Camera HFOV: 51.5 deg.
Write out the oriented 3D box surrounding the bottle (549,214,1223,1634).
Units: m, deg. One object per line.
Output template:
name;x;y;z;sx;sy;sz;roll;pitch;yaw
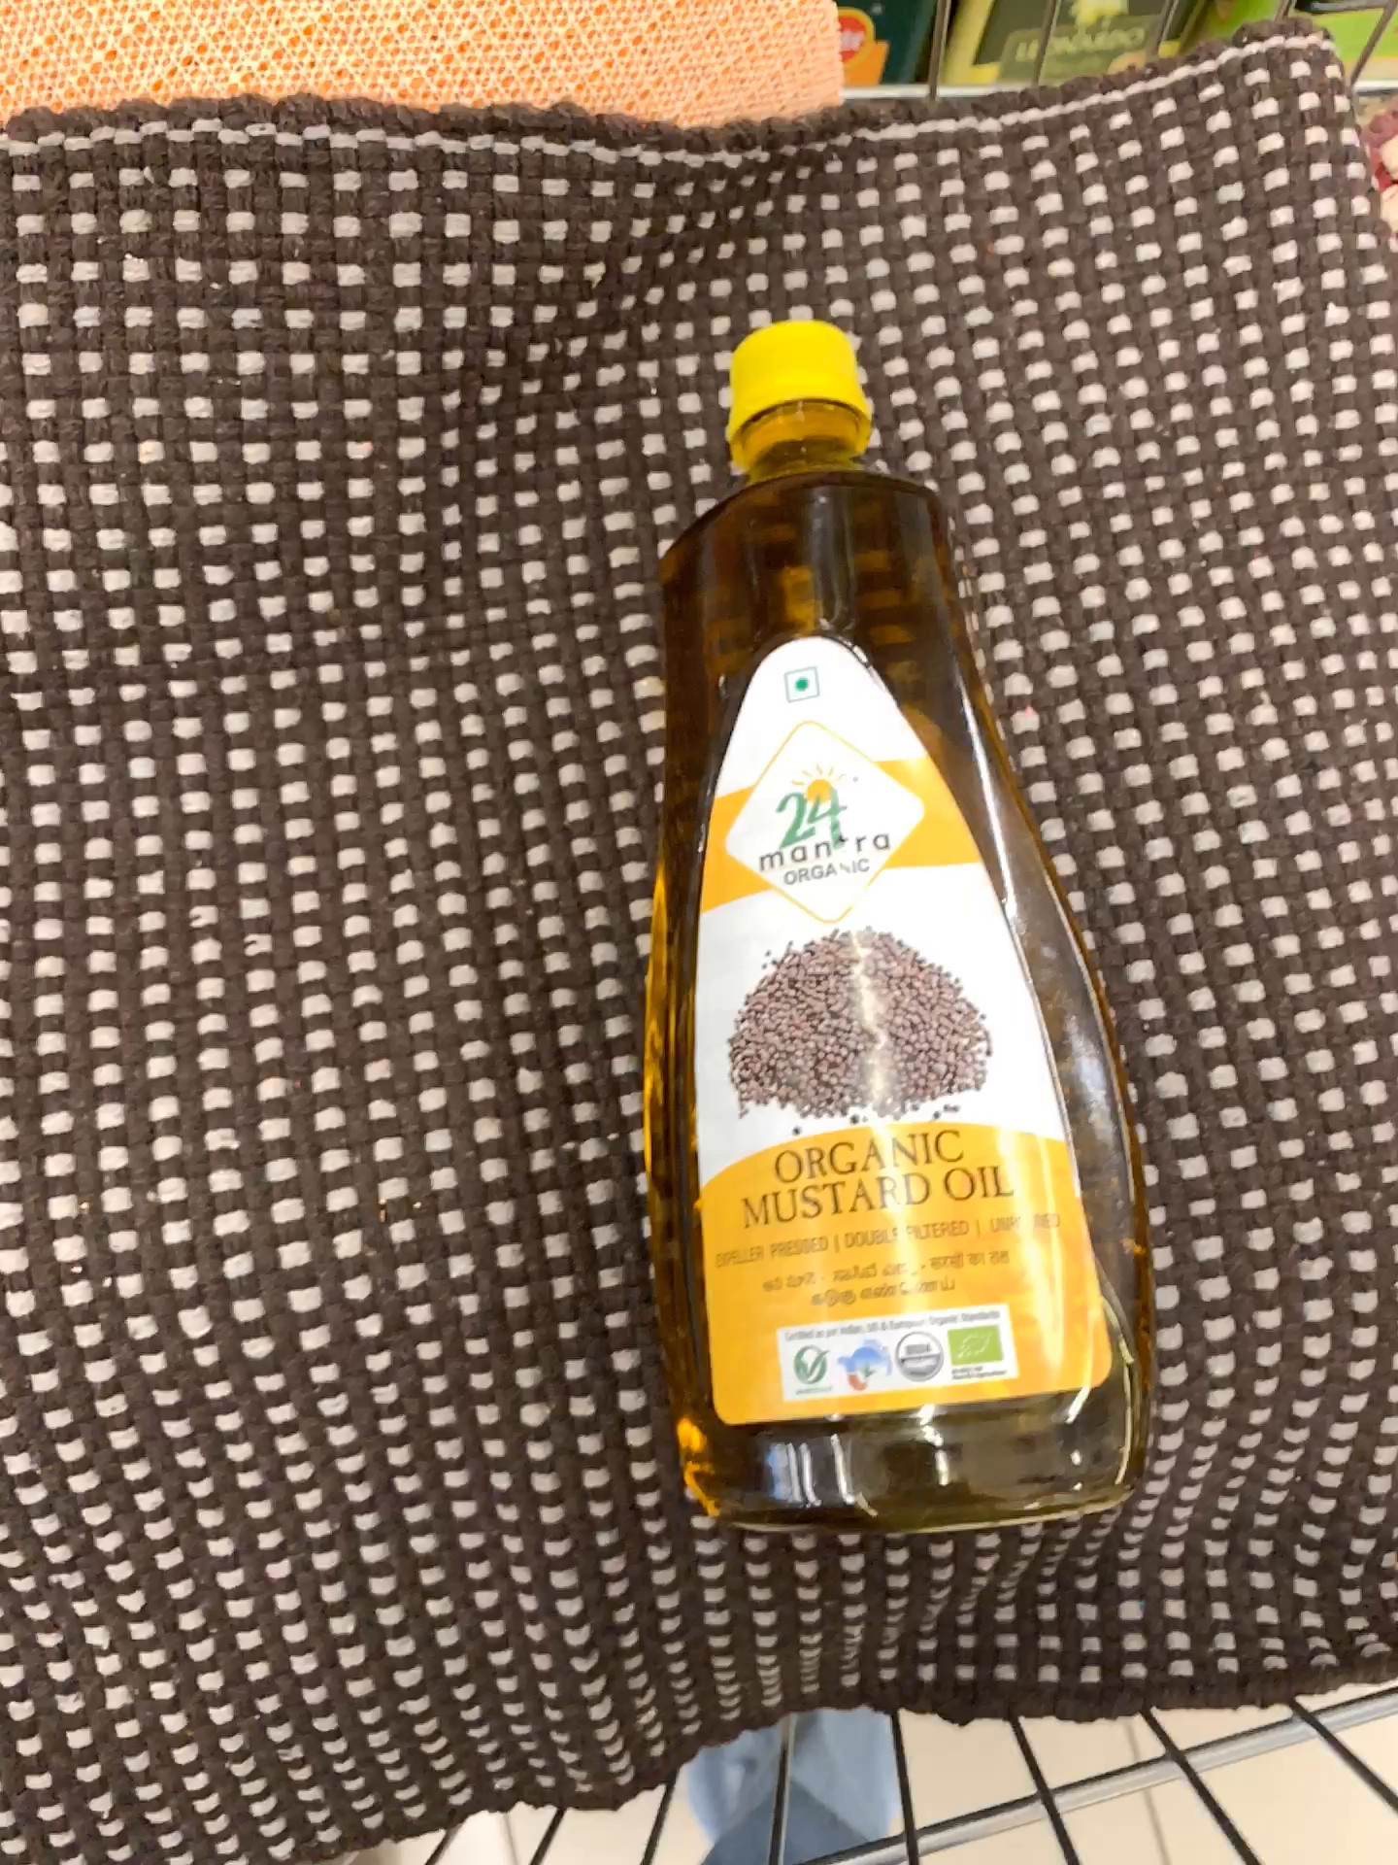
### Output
bottle;0.035;-0.002;0.293;0.110;0.060;0.250;-3;85;10
